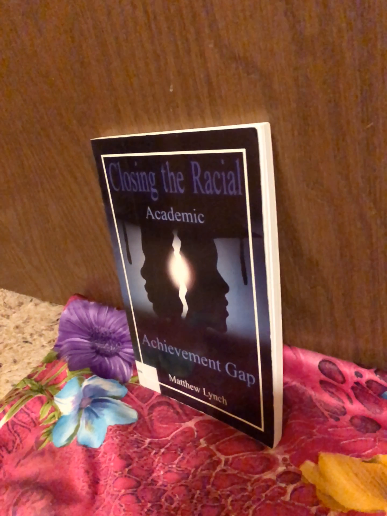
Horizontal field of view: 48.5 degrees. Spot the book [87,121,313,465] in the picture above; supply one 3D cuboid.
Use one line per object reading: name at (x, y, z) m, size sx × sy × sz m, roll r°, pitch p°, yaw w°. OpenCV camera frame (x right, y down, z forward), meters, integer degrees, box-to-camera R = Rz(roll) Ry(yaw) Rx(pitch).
book at (0.007, 0.025, 0.319) m, size 0.146 × 0.230 × 0.036 m, roll 9°, pitch 28°, yaw 38°
